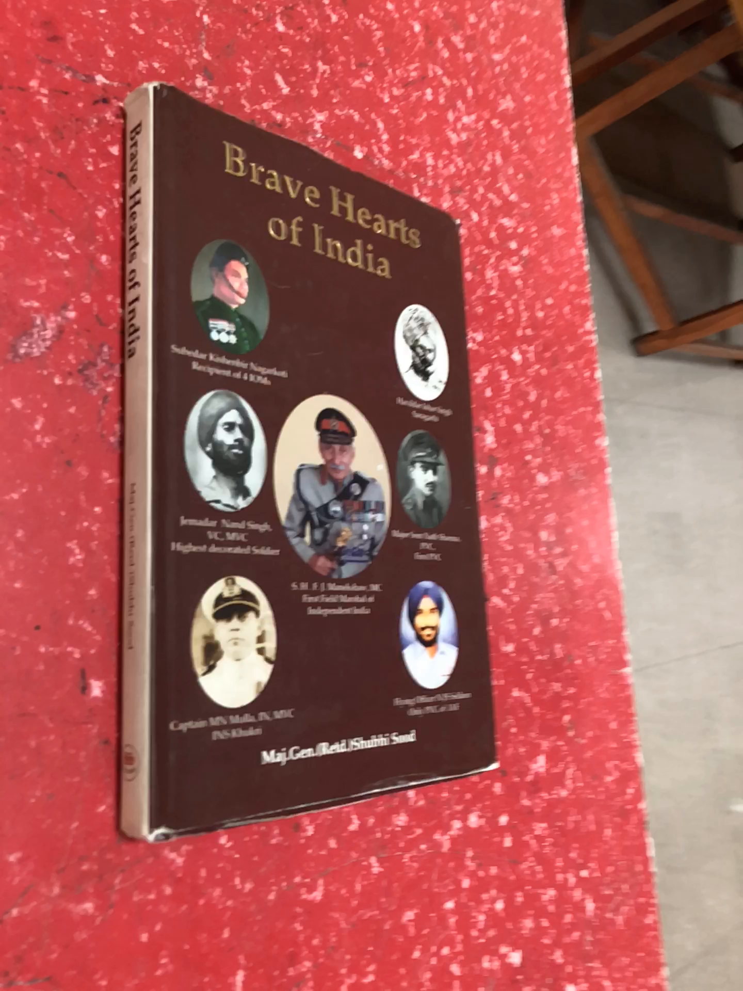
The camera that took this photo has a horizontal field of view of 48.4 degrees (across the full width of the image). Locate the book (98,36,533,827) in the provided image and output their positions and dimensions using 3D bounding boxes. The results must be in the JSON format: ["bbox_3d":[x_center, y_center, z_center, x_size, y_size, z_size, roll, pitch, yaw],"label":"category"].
[{"bbox_3d":[-0.014,-0.018,0.283,0.151,0.030,0.220,6,75,-41],"label":"book"}]
